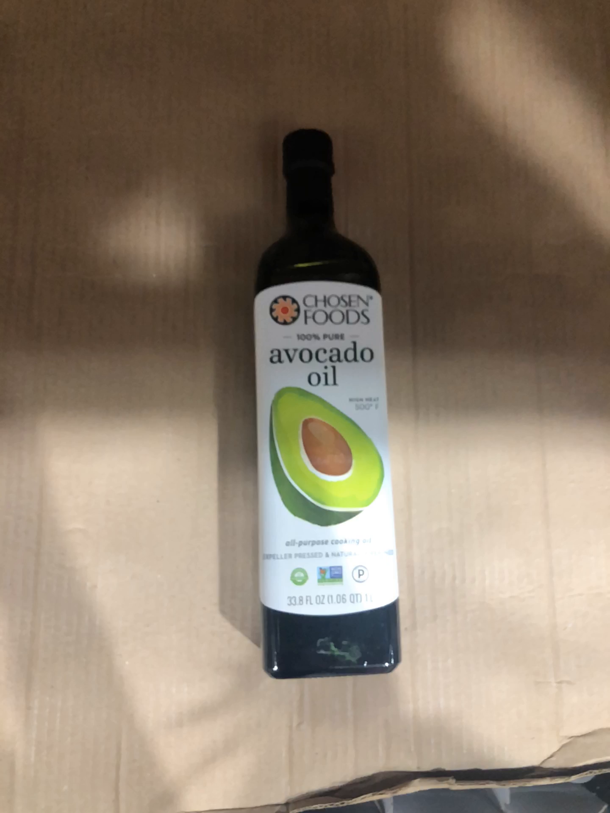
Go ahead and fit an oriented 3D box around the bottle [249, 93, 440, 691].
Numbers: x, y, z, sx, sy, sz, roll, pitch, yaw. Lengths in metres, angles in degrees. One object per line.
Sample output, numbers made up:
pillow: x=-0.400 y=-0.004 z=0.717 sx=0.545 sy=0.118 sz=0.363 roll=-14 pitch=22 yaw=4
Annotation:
bottle: x=0.014 y=-0.014 z=0.397 sx=0.086 sy=0.074 sz=0.320 roll=-1 pitch=79 yaw=-6
